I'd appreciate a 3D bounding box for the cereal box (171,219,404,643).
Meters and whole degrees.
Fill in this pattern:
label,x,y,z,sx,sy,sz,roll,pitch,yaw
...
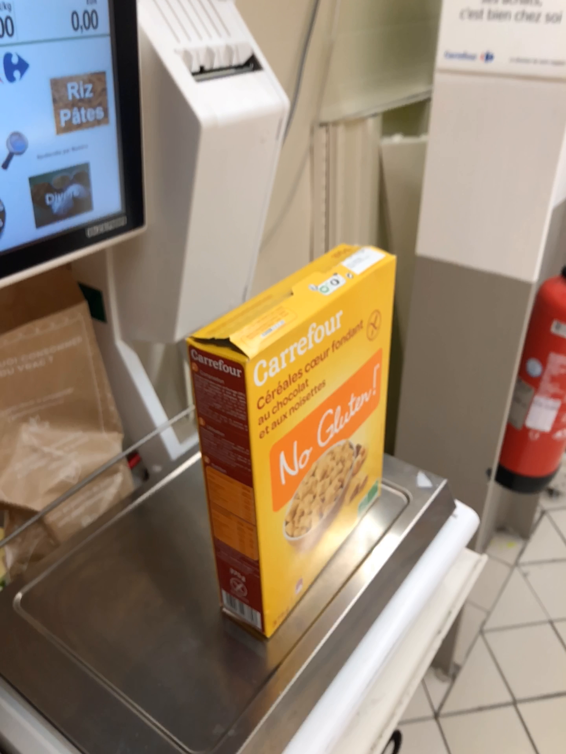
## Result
label,x,y,z,sx,sy,sz,roll,pitch,yaw
cereal box,0.017,0.037,0.503,0.060,0.268,0.201,18,36,29
